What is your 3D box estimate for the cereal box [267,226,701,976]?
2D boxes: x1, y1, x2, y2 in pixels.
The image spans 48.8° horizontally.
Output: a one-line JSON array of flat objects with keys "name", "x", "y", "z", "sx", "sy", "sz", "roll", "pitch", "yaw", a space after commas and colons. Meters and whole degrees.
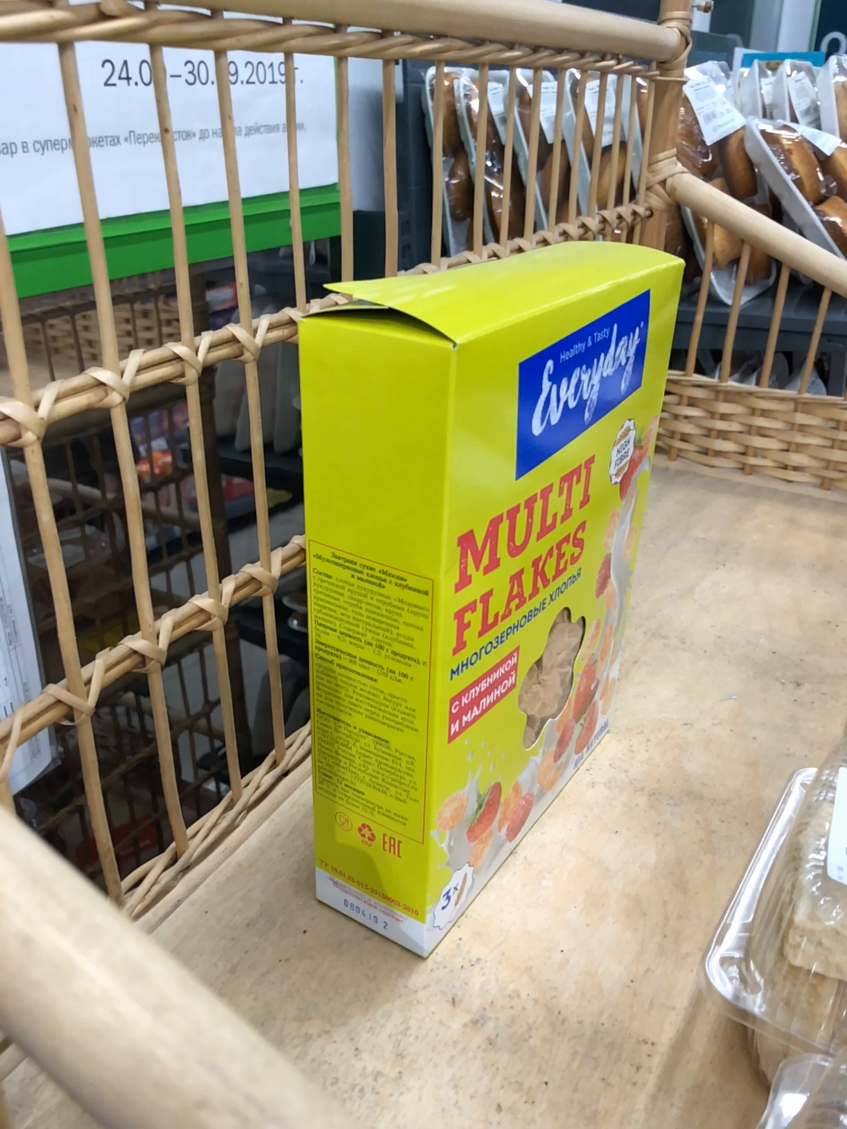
[{"name": "cereal box", "x": 0.028, "y": 0.002, "z": 0.360, "sx": 0.060, "sy": 0.229, "sz": 0.181, "roll": 19, "pitch": 32, "yaw": 28}]
